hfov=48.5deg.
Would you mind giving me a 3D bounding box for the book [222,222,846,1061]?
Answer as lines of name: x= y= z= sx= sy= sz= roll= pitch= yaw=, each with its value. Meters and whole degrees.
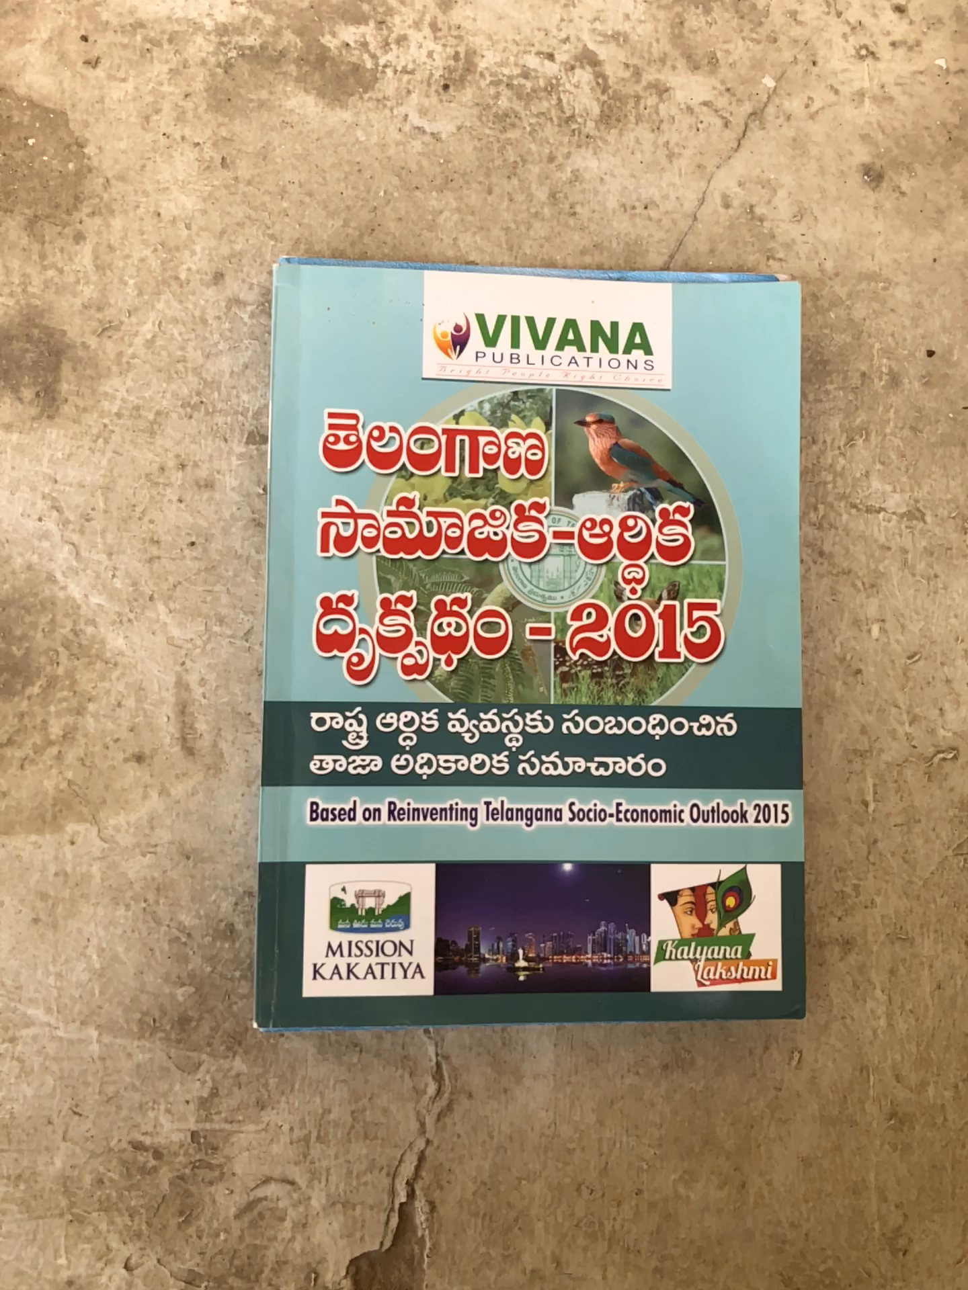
book: x=0.019 y=-0.002 z=0.368 sx=0.200 sy=0.030 sz=0.270 roll=1 pitch=85 yaw=-5
